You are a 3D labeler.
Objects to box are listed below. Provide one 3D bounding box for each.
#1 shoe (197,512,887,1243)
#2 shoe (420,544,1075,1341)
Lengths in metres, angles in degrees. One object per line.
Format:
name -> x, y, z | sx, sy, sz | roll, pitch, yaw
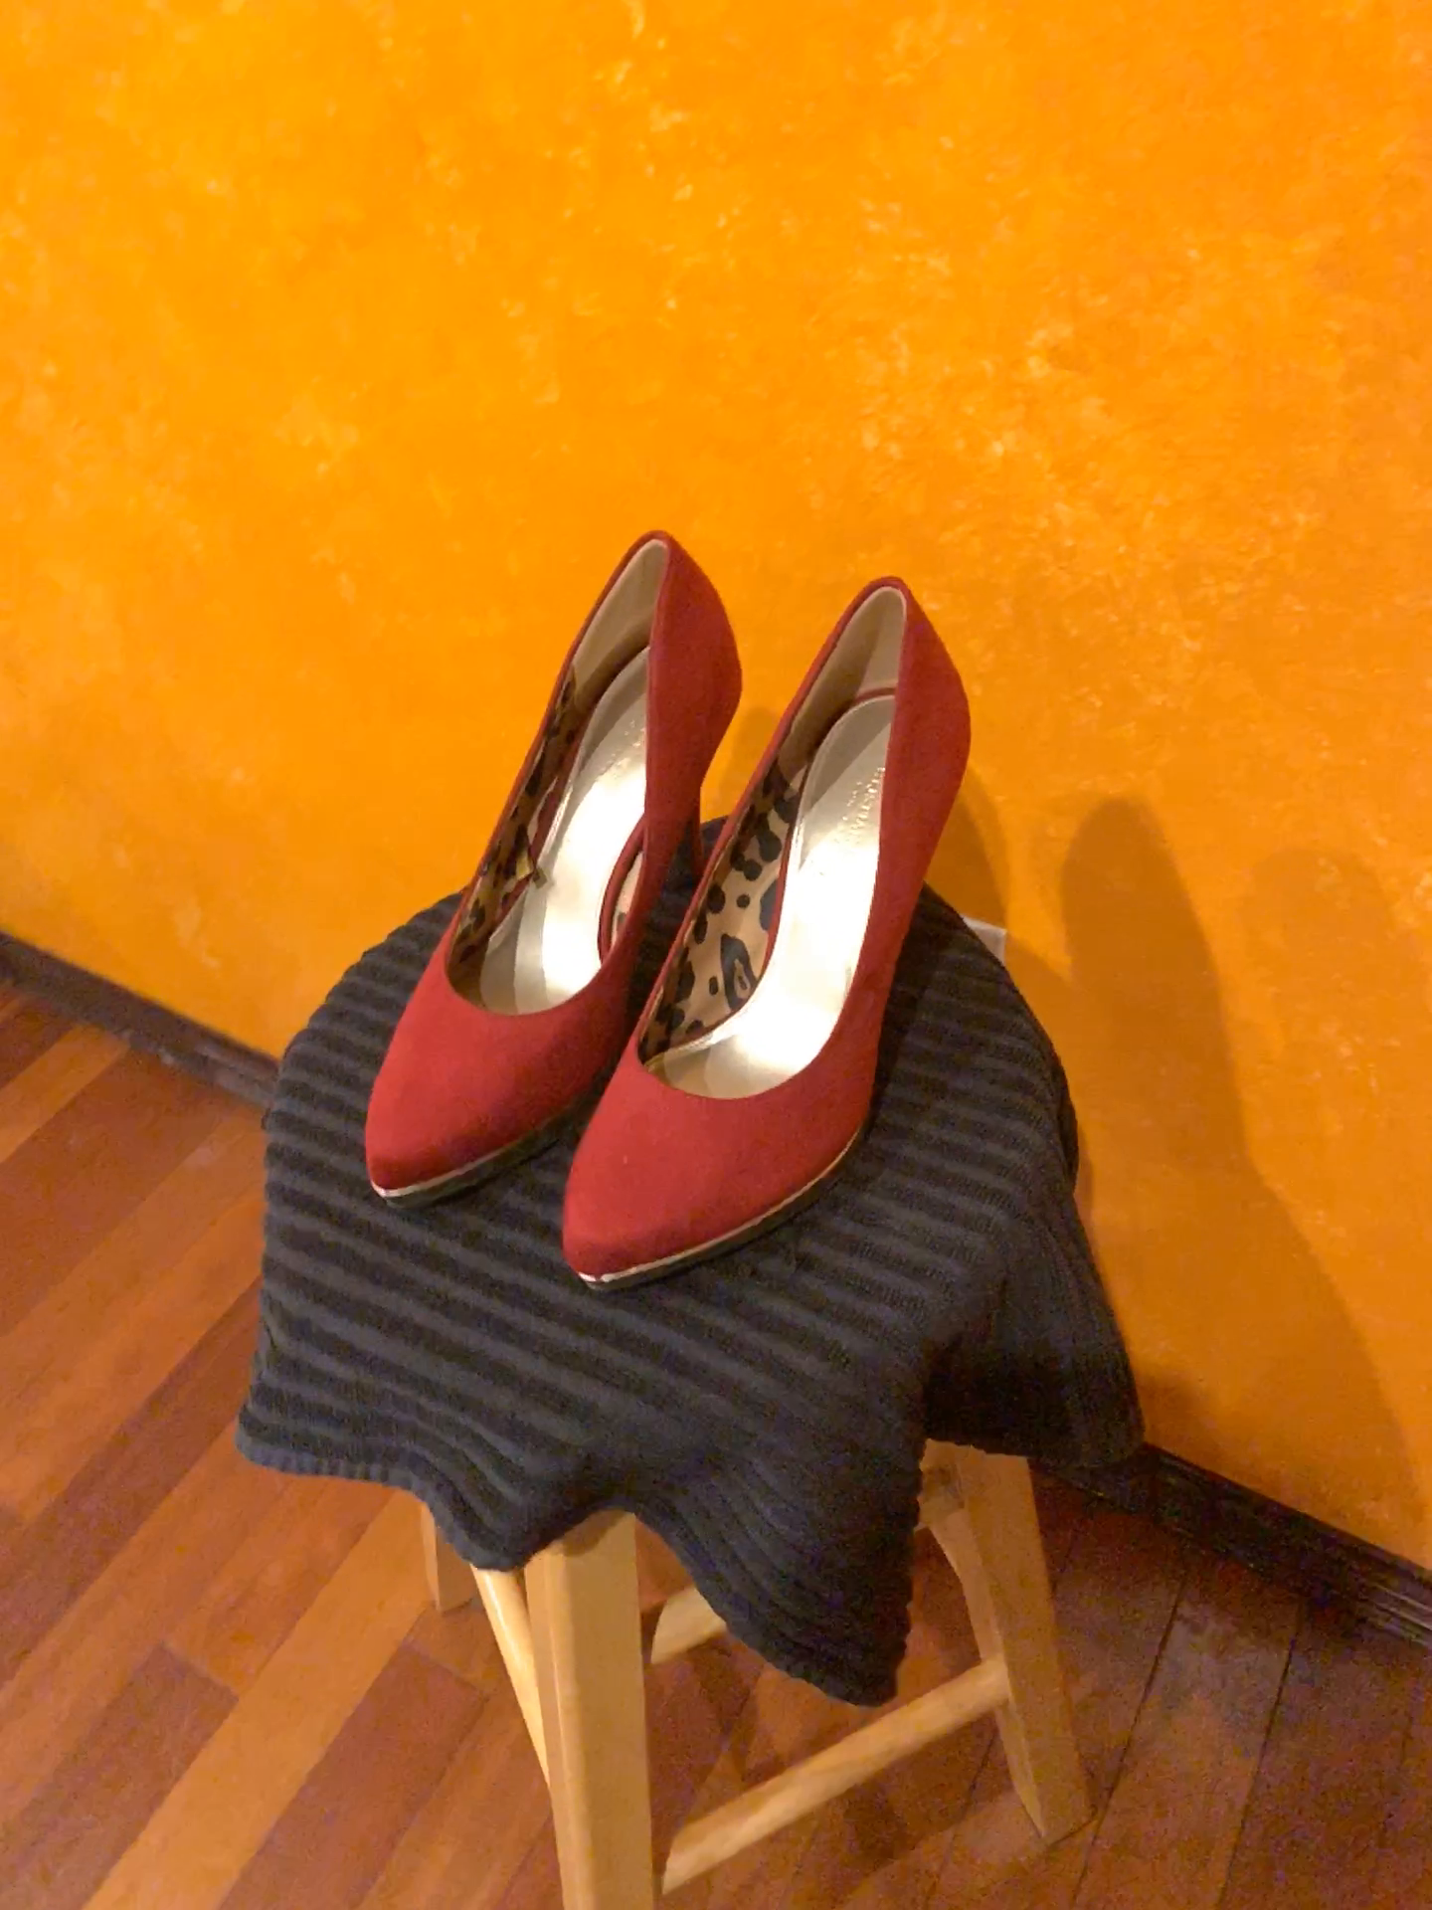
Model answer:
shoe -> -0.045, -0.049, 0.558 | 0.100, 0.119, 0.291 | 21, 43, 19
shoe -> 0.024, -0.022, 0.511 | 0.093, 0.128, 0.271 | 22, 44, 20
